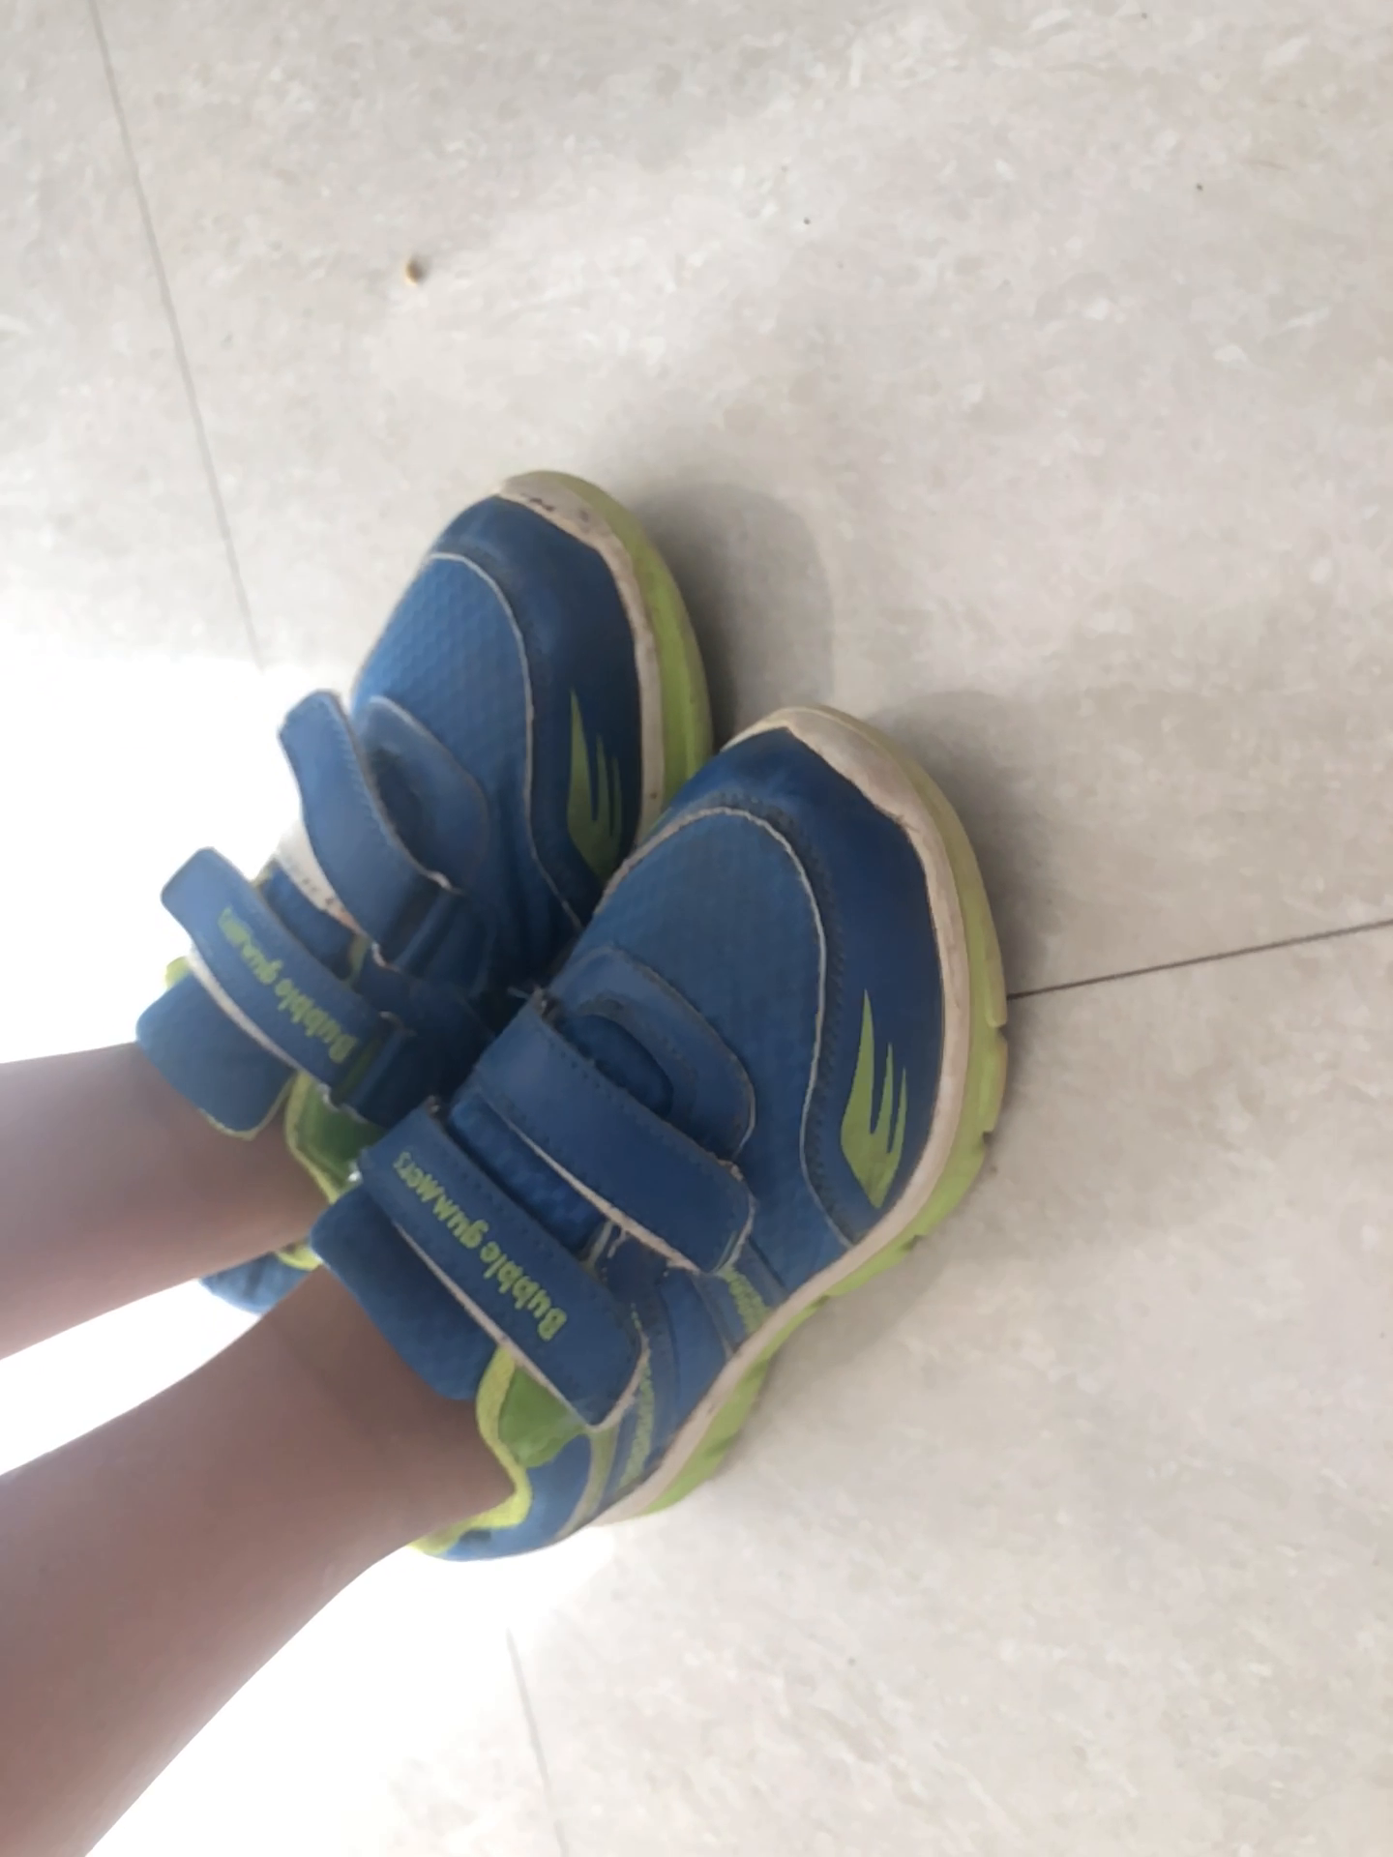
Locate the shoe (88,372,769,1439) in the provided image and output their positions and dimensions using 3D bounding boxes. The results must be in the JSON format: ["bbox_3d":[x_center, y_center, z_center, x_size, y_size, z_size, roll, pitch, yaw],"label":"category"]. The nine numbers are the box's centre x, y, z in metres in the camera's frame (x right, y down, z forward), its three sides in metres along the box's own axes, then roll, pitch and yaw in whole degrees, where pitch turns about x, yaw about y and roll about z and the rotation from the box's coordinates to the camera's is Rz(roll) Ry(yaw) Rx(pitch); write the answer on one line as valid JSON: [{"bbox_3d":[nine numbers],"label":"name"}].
[{"bbox_3d":[-0.073,0.000,0.360,0.090,0.060,0.220,39,122,29],"label":"shoe"}]

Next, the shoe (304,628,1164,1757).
[{"bbox_3d":[-0.006,0.058,0.325,0.090,0.060,0.220,40,122,29],"label":"shoe"}]
